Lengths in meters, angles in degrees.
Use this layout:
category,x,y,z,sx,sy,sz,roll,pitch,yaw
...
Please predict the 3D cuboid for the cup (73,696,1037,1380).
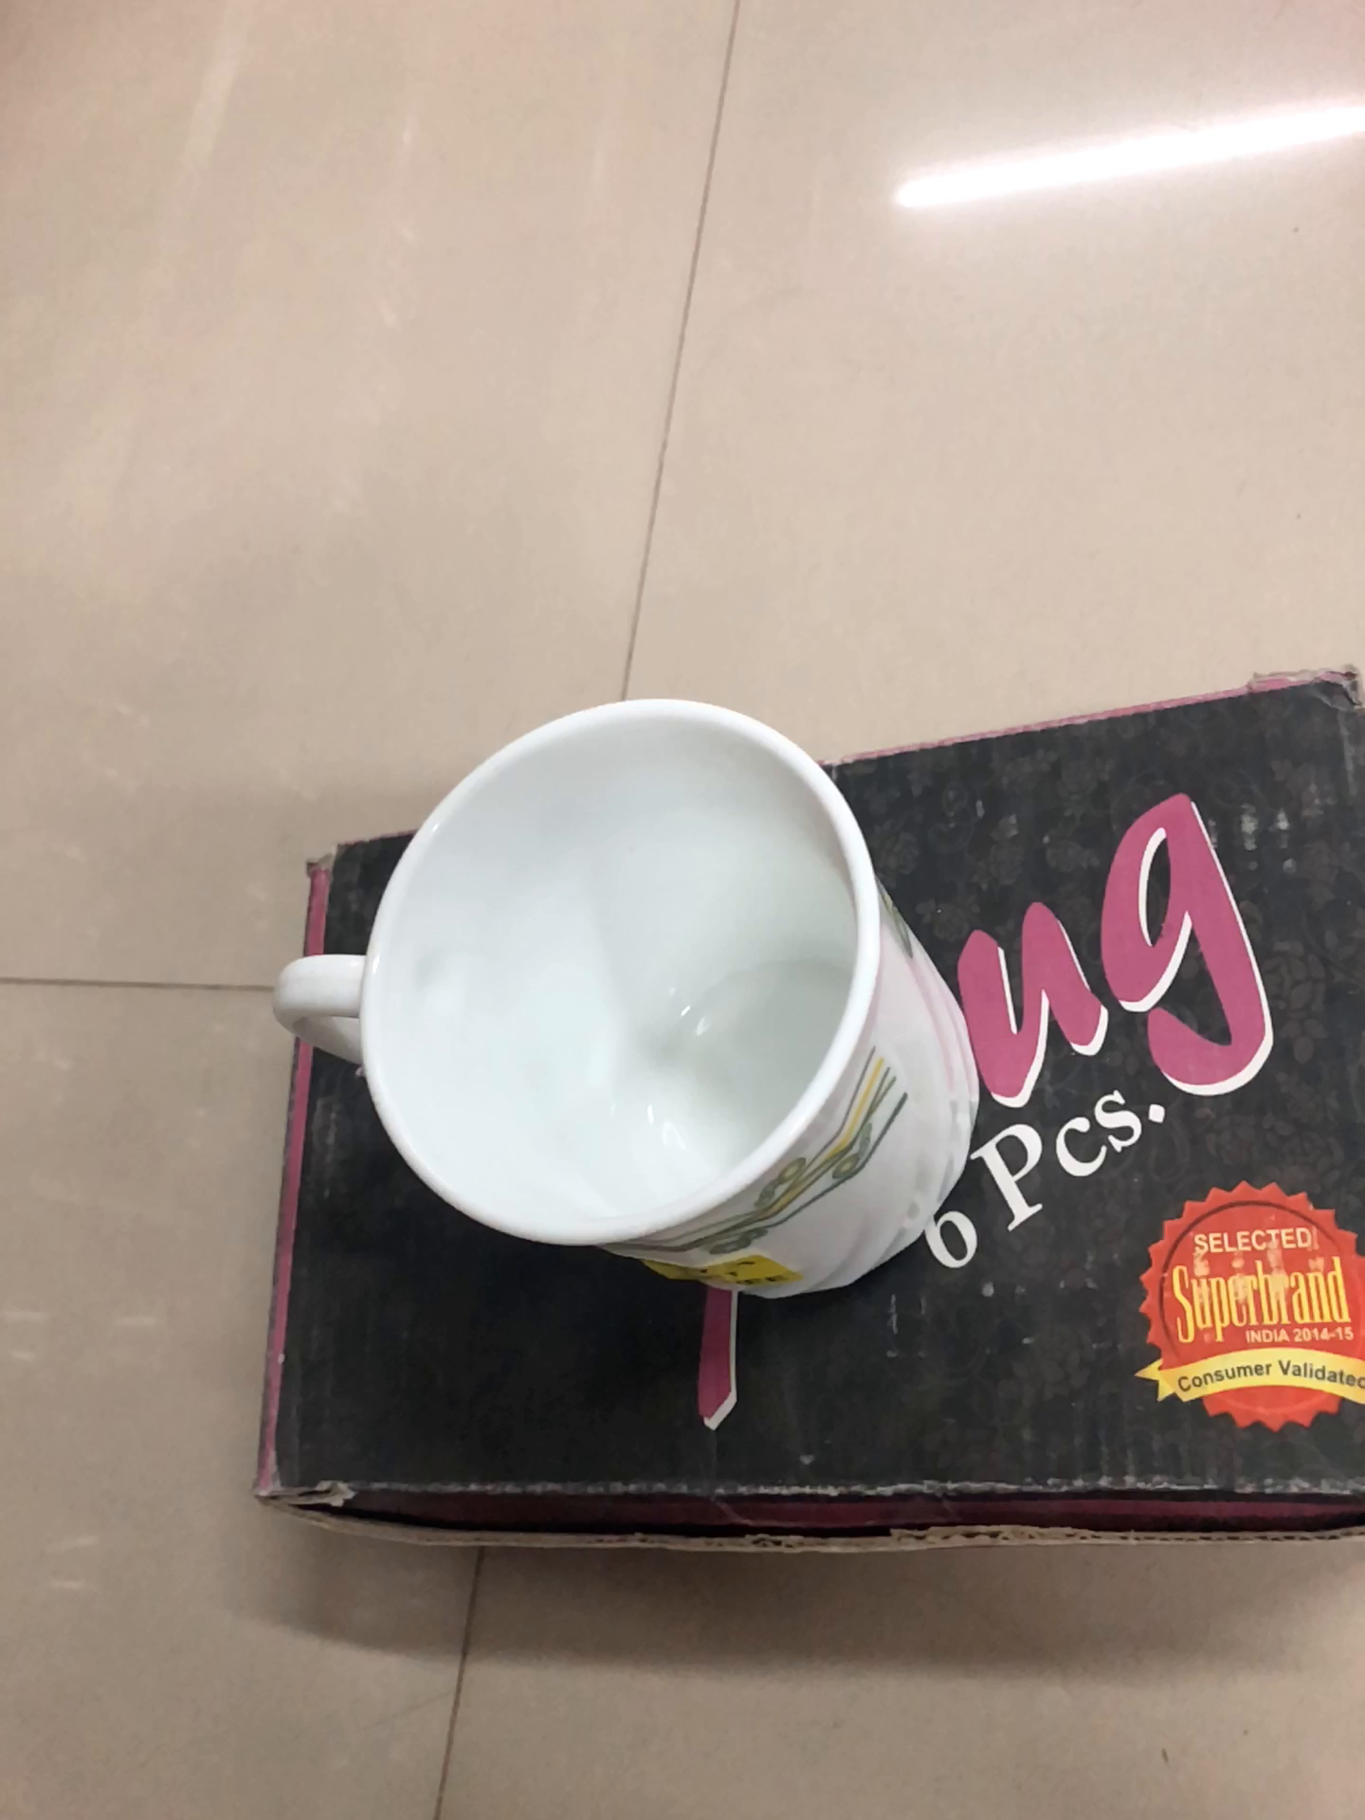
category,x,y,z,sx,sy,sz,roll,pitch,yaw
cup,-0.011,0.027,0.255,0.120,0.100,0.080,-1,69,22
